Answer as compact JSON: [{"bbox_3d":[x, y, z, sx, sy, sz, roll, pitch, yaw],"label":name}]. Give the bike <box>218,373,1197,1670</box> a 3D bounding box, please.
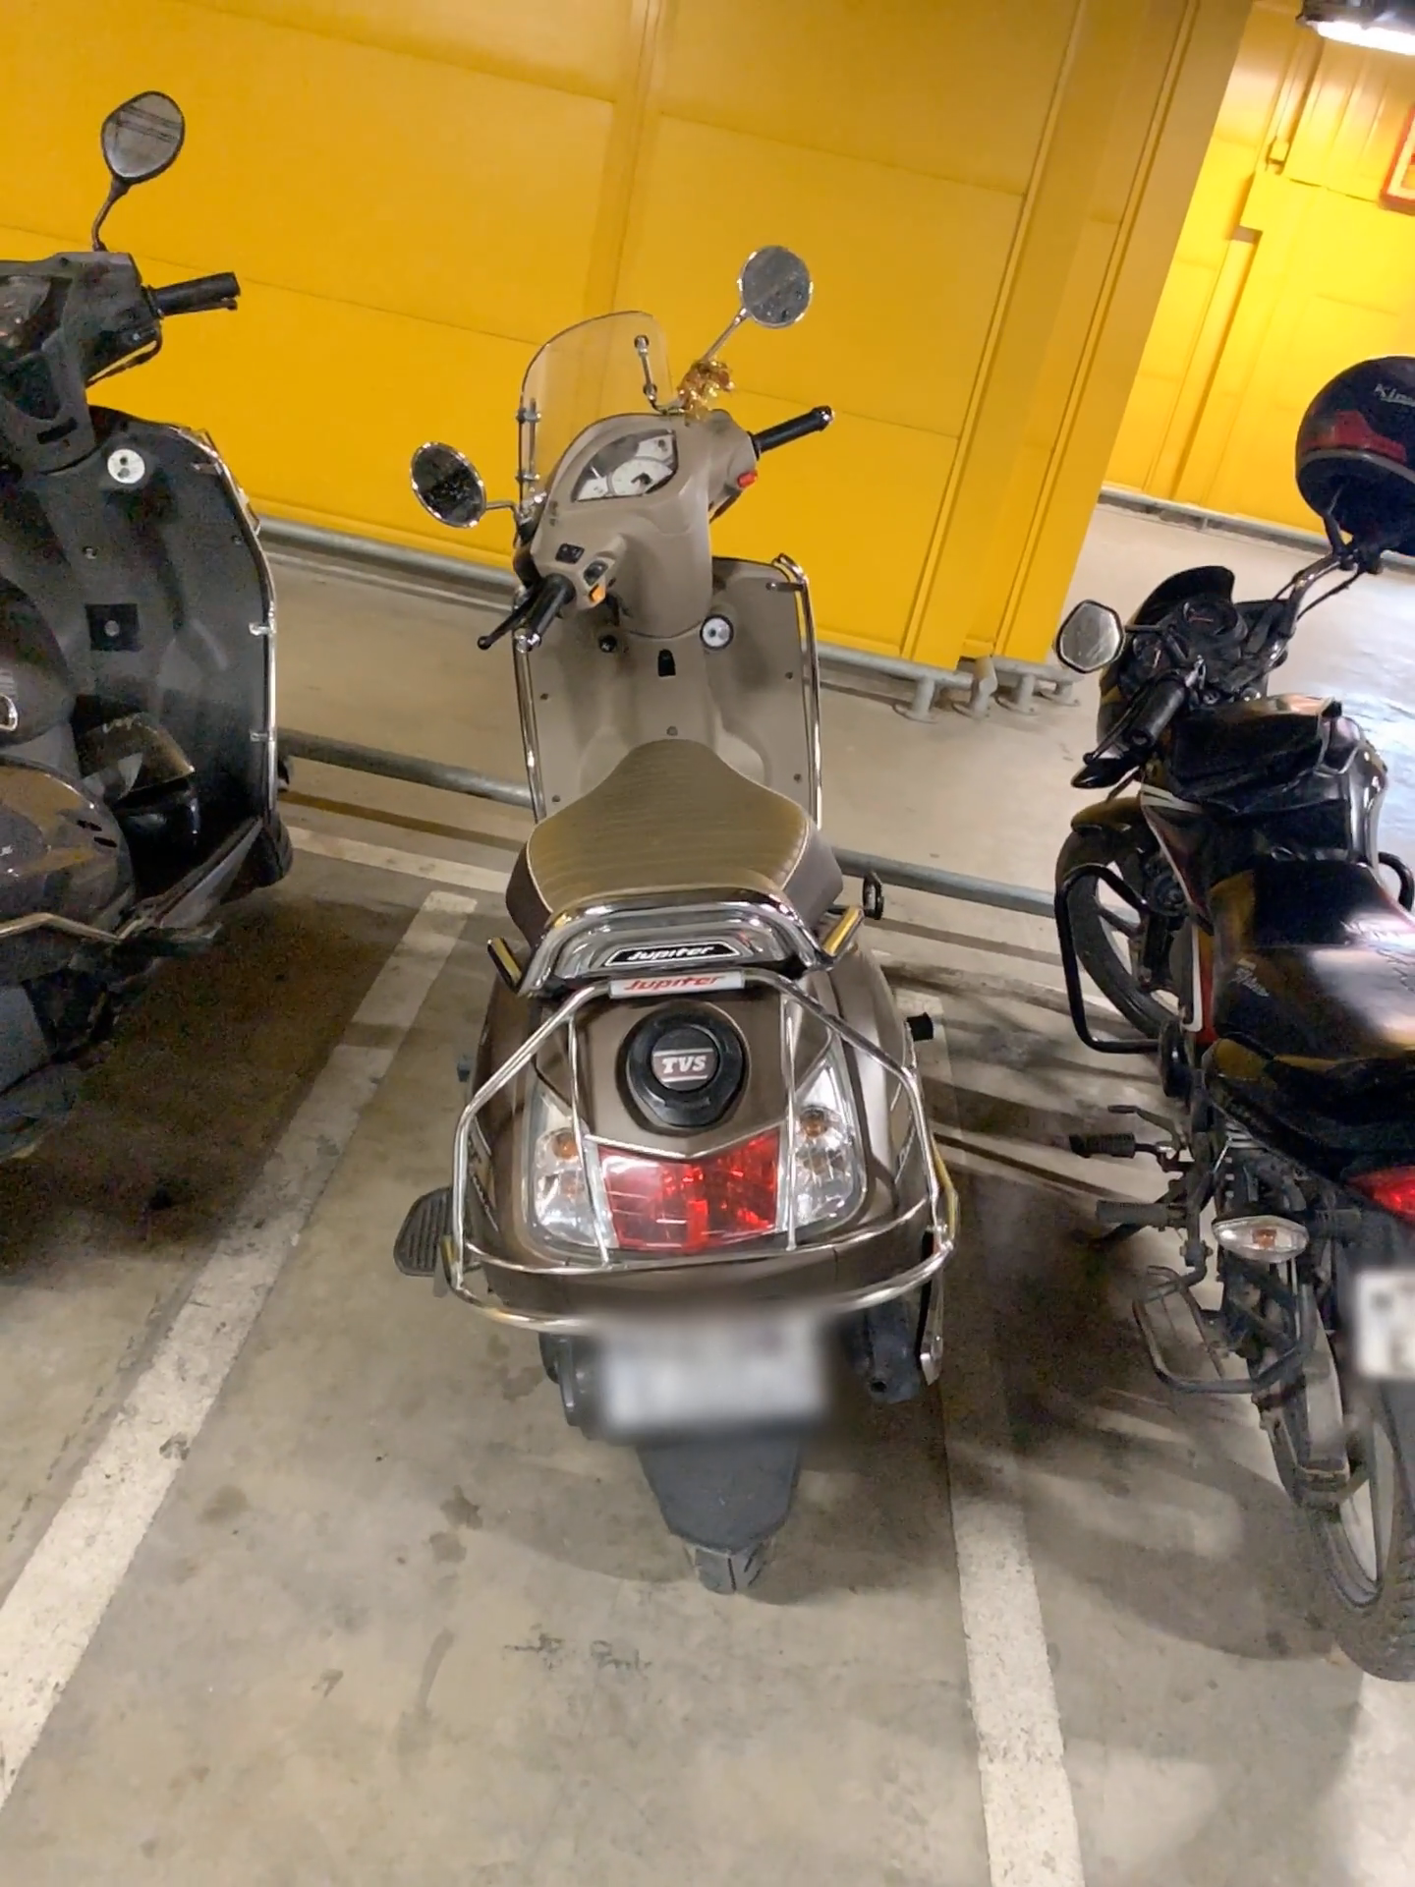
[{"bbox_3d":[-0.170,-0.086,1.872,0.603,1.027,1.562,7,25,-12],"label":"bike"}]
